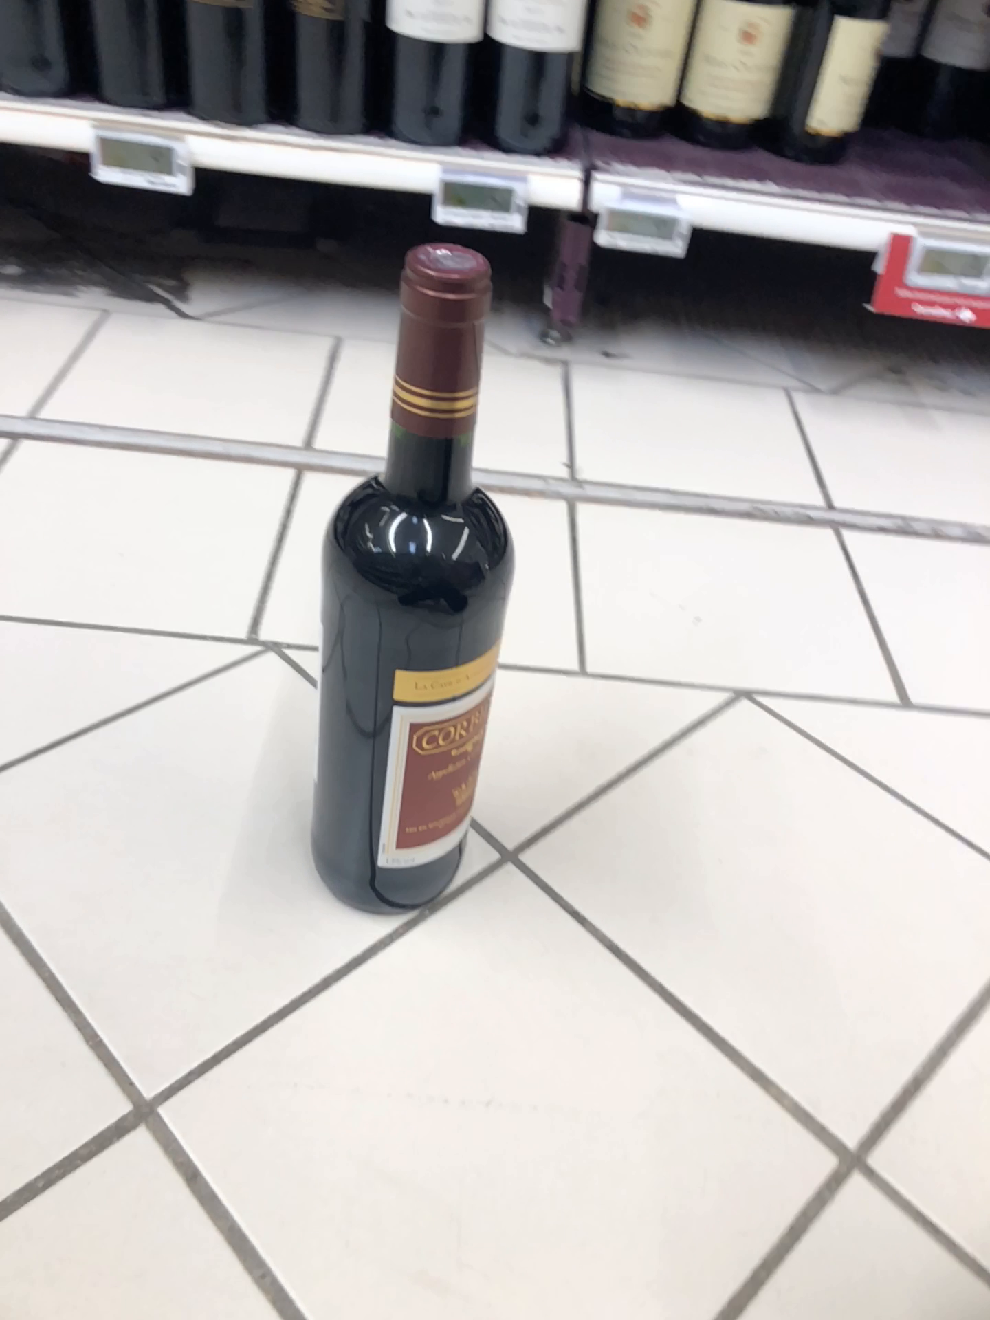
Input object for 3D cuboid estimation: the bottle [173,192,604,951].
[{"bbox_3d":[-0.044,-0.023,0.432,0.100,0.268,0.101,5,40,-4],"label":"bottle"}]
